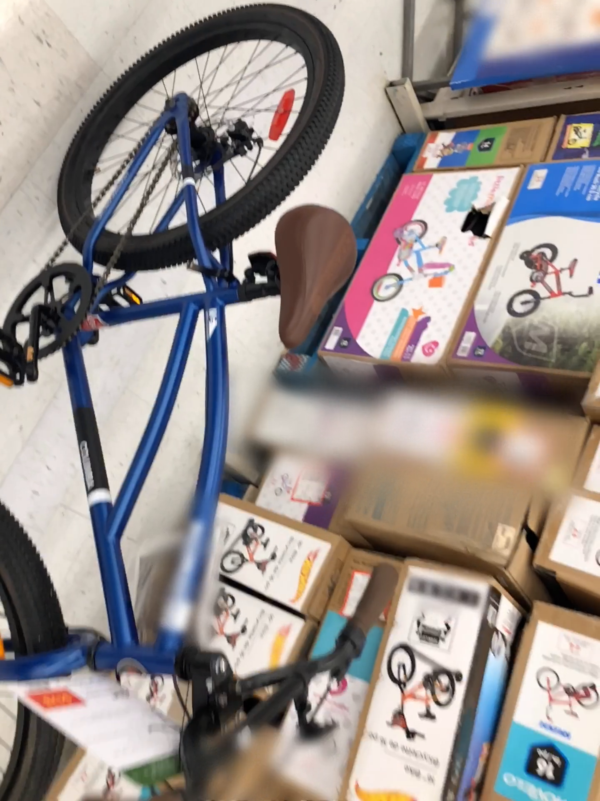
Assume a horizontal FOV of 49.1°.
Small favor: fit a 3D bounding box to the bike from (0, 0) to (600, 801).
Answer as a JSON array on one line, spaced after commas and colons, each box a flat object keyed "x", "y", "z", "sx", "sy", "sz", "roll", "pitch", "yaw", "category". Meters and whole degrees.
[{"x": -0.189, "y": -0.003, "z": 1.049, "sx": 0.651, "sy": 0.929, "sz": 1.552, "roll": 36, "pitch": 70, "yaw": -50, "category": "bike"}]
